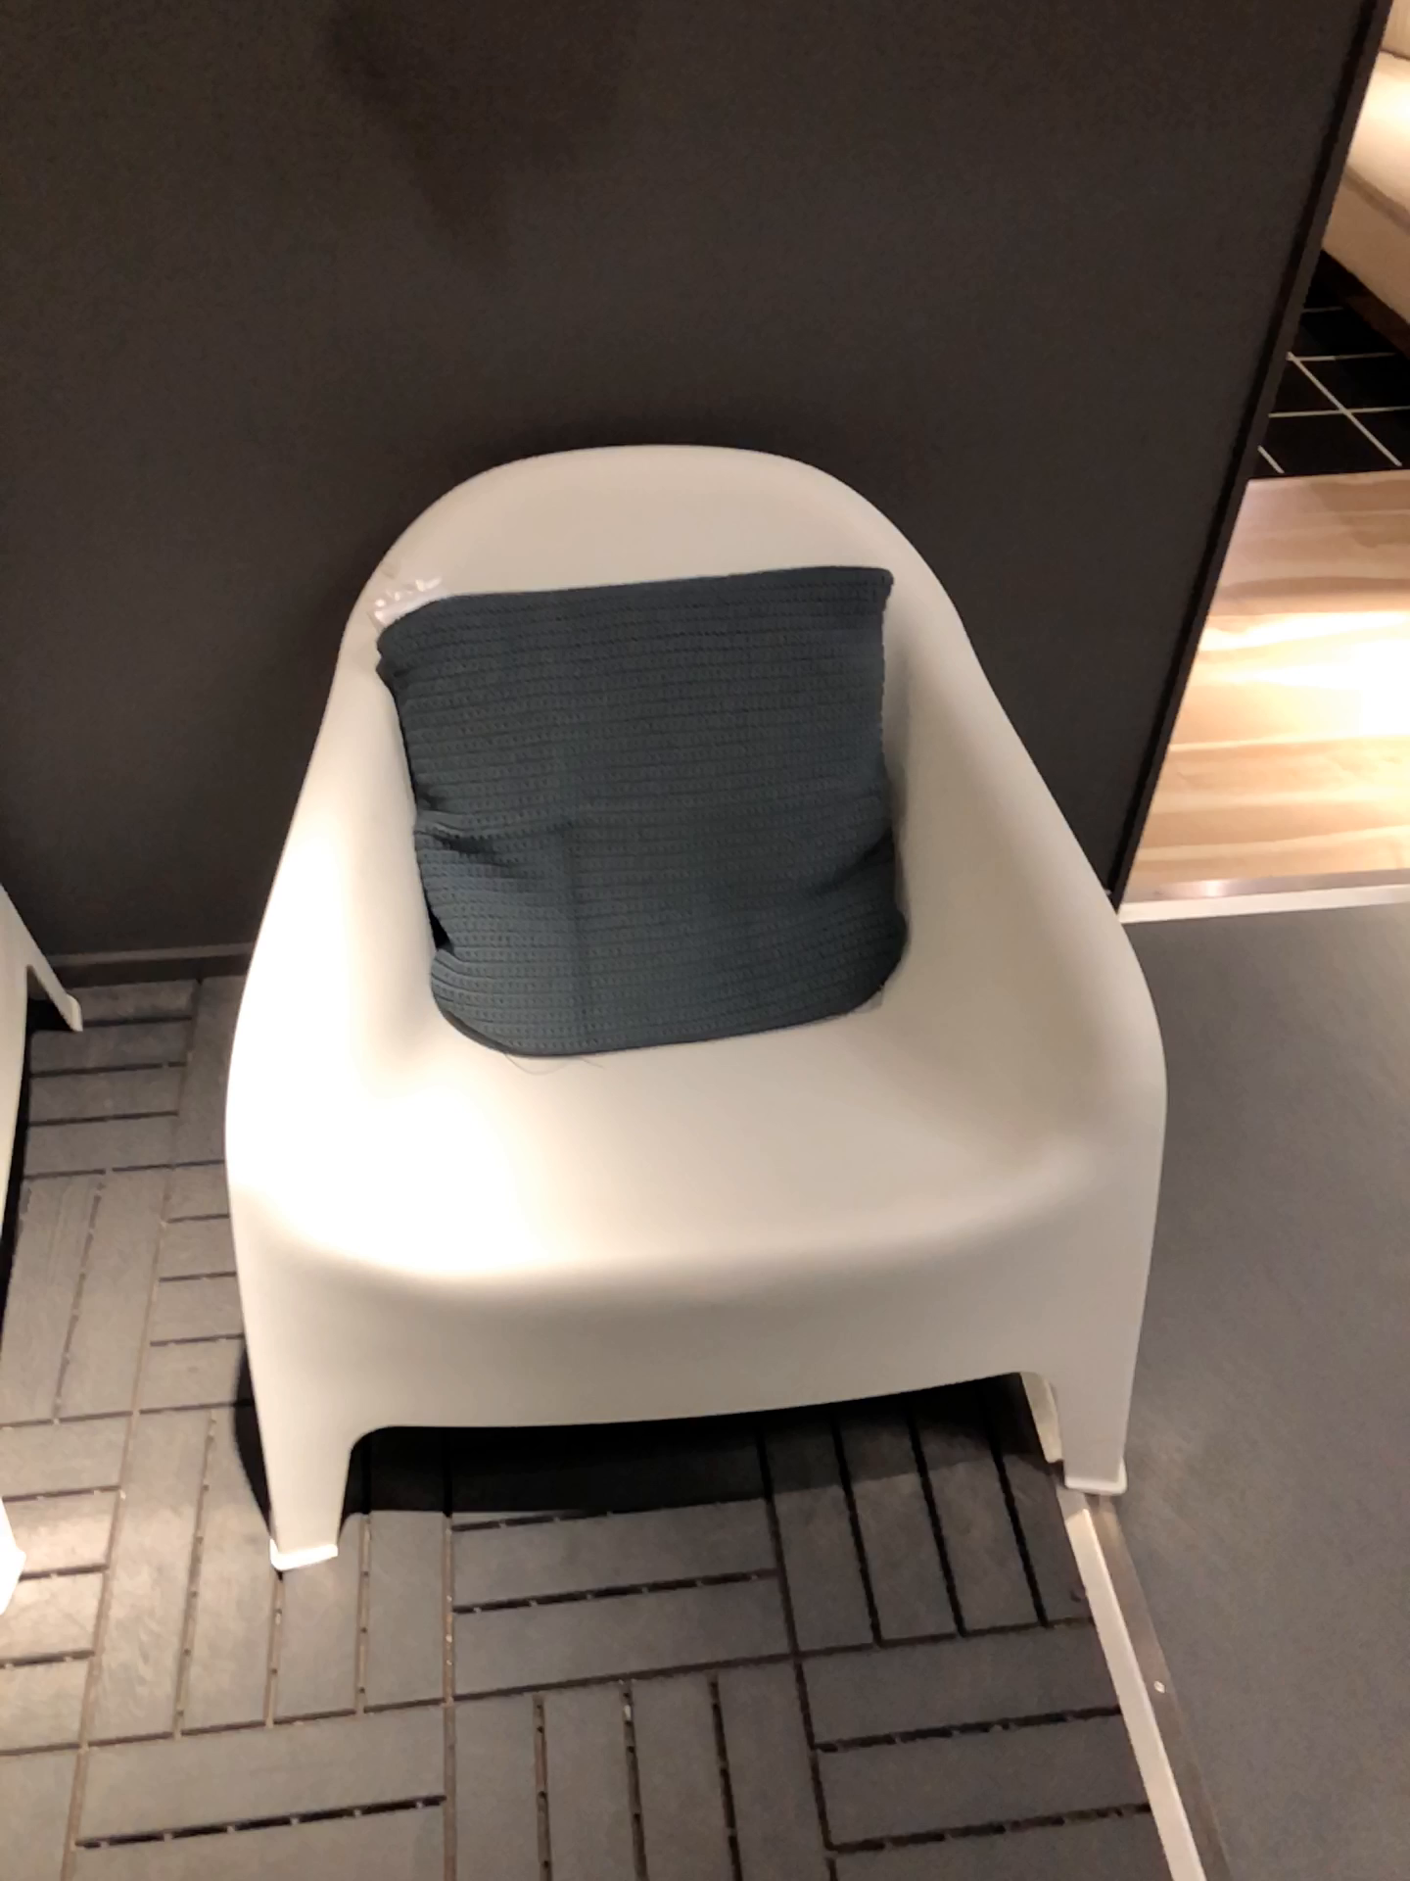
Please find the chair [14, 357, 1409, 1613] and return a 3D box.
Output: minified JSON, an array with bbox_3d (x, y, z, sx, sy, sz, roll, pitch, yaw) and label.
[{"bbox_3d":[-0.035,0.012,1.426,0.830,0.765,0.785,-5,44,-8],"label":"chair"}]
